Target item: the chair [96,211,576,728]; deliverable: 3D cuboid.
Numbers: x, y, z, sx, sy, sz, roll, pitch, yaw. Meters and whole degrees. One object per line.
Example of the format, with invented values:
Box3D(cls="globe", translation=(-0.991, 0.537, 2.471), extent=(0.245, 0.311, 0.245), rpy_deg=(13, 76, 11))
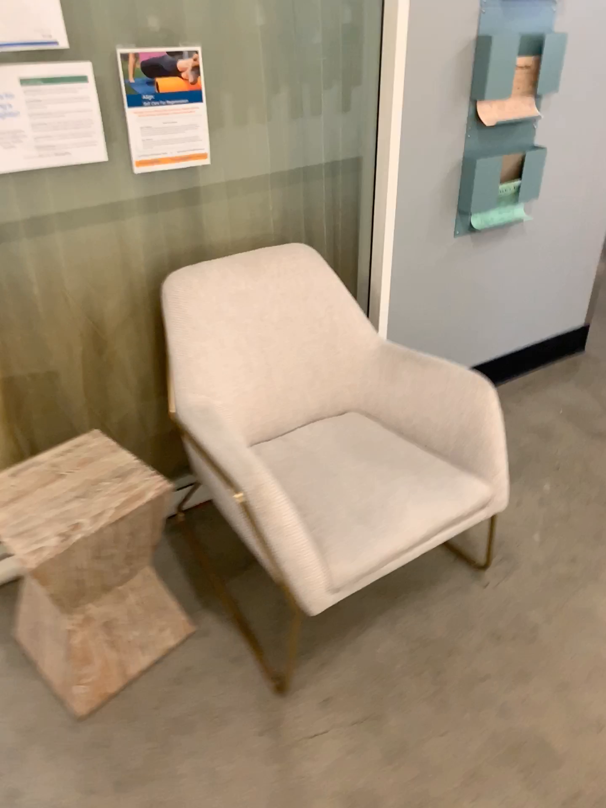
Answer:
Box3D(cls="chair", translation=(0.049, 0.074, 1.629), extent=(0.781, 0.865, 0.774), rpy_deg=(-21, 37, -30))
